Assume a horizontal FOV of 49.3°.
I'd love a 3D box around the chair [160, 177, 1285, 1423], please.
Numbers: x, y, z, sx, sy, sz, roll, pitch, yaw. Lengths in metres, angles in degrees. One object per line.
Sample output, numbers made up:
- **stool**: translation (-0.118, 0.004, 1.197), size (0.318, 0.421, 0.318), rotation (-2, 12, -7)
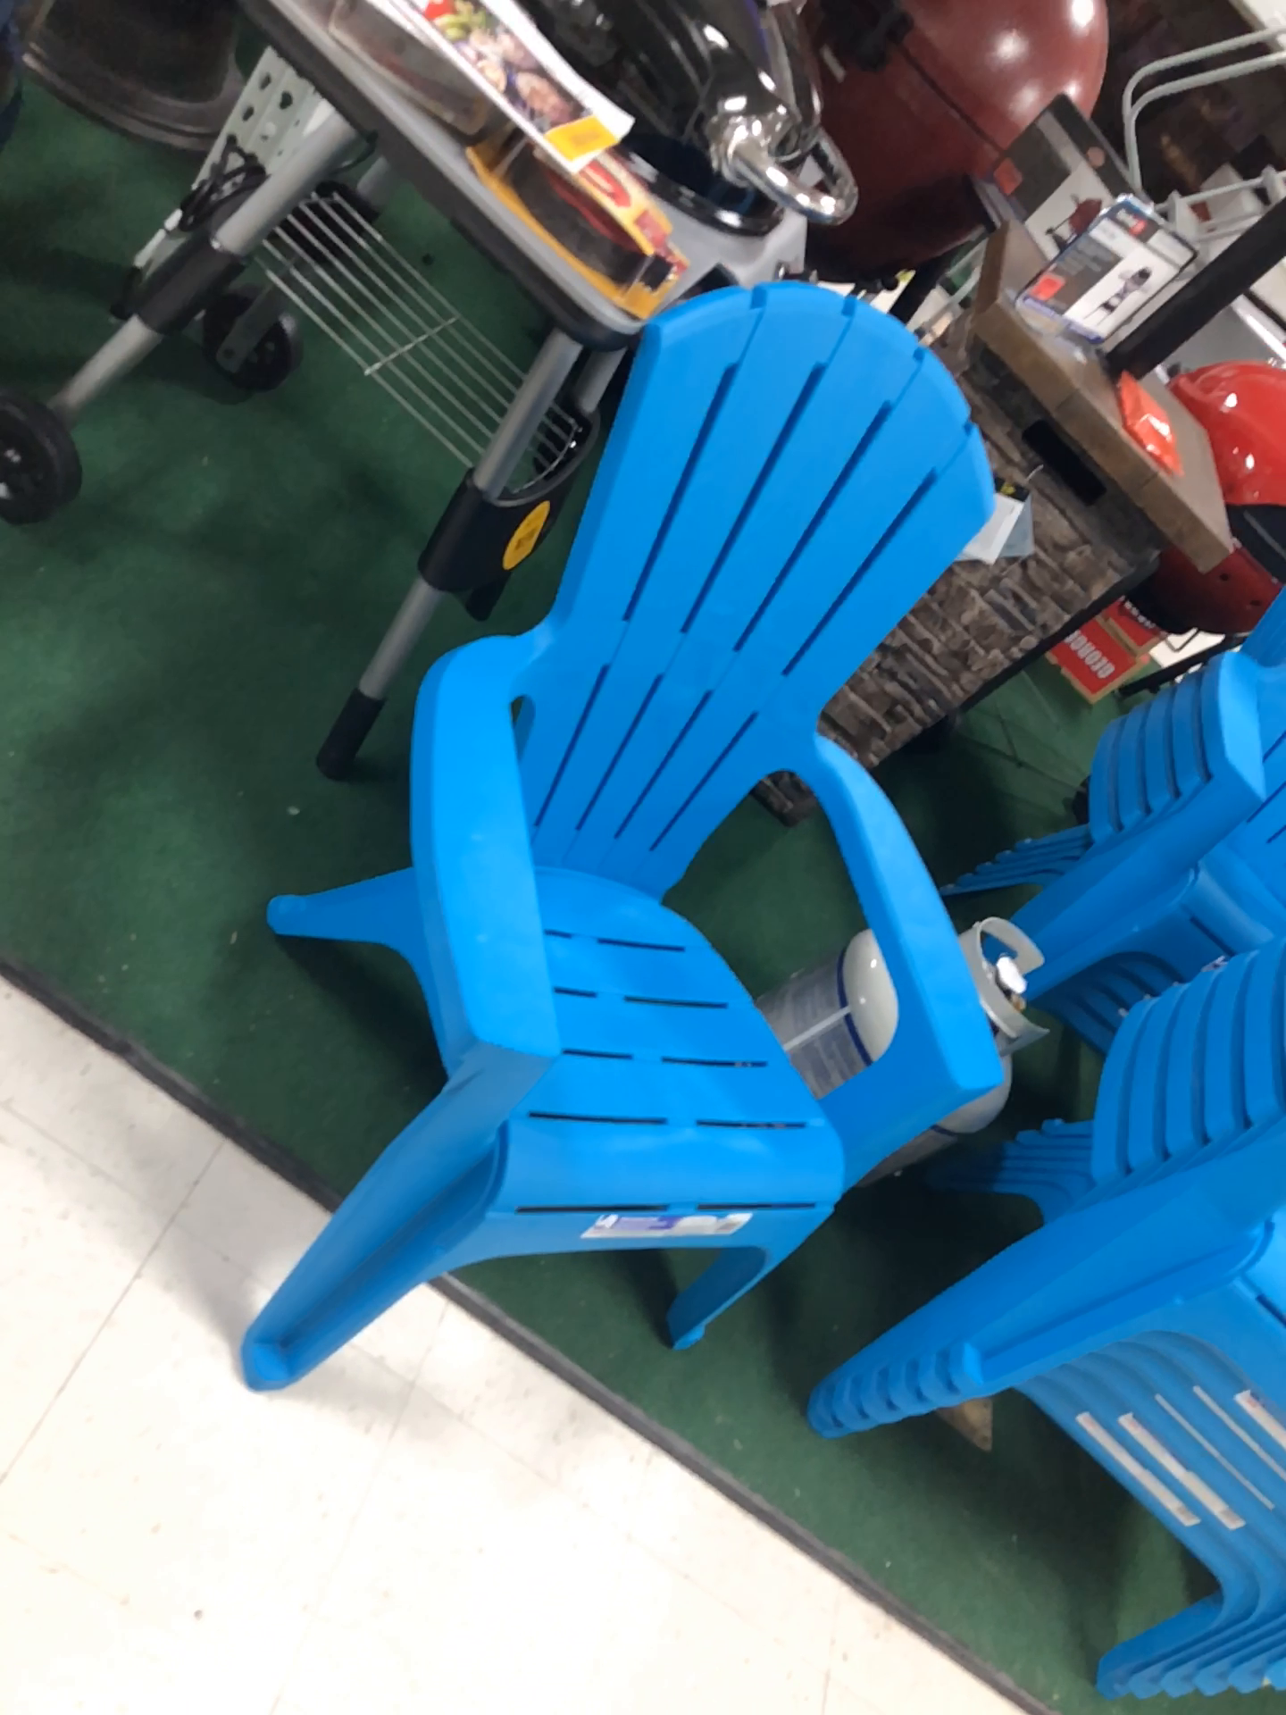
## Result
- **chair**: translation (0.076, 0.057, 1.391), size (0.685, 0.930, 0.647), rotation (12, 51, -41)
